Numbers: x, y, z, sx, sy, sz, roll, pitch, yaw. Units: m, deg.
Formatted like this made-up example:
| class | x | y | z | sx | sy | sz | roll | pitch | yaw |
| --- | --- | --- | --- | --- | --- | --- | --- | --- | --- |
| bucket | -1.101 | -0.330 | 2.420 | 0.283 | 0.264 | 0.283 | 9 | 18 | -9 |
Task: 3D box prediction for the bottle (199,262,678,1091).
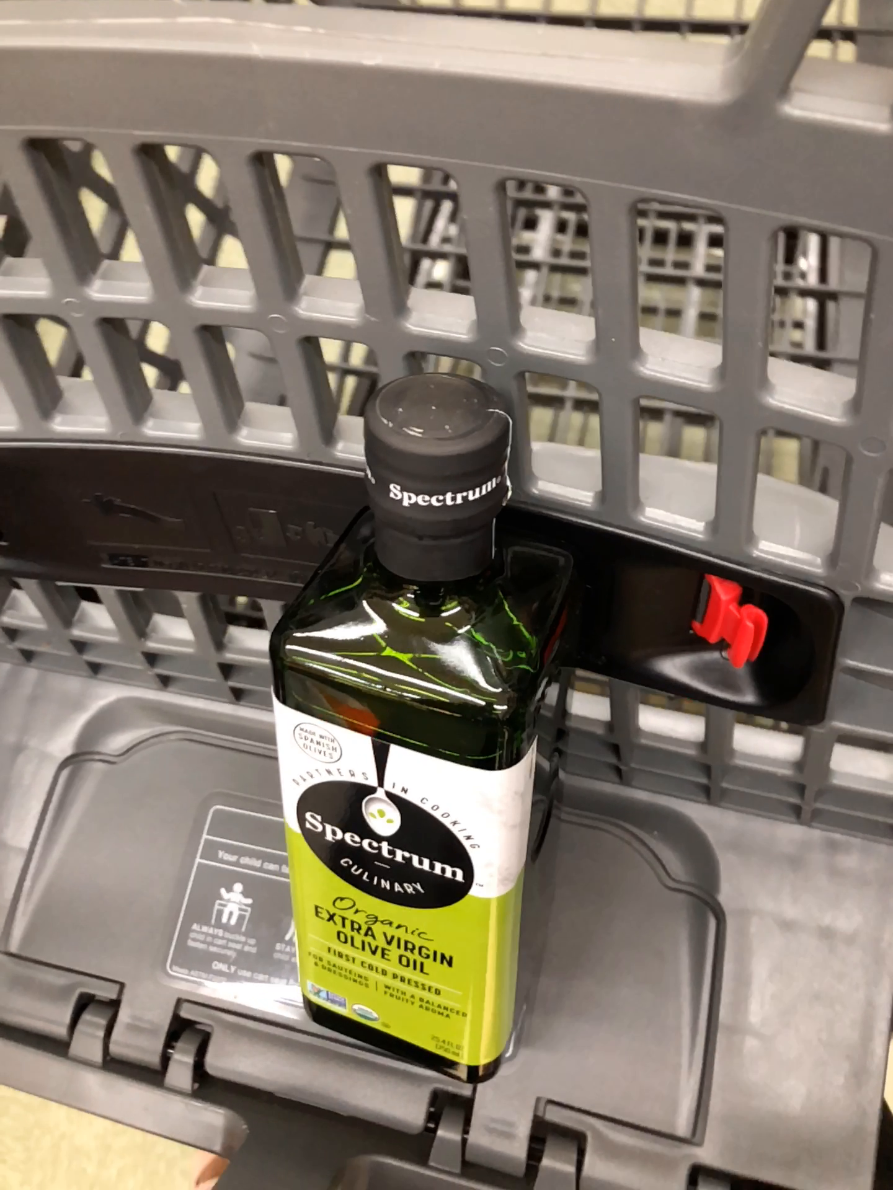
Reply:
| class | x | y | z | sx | sy | sz | roll | pitch | yaw |
| --- | --- | --- | --- | --- | --- | --- | --- | --- | --- |
| bottle | -0.001 | 0.044 | 0.295 | 0.080 | 0.250 | 0.076 | 1 | 42 | -1 |
